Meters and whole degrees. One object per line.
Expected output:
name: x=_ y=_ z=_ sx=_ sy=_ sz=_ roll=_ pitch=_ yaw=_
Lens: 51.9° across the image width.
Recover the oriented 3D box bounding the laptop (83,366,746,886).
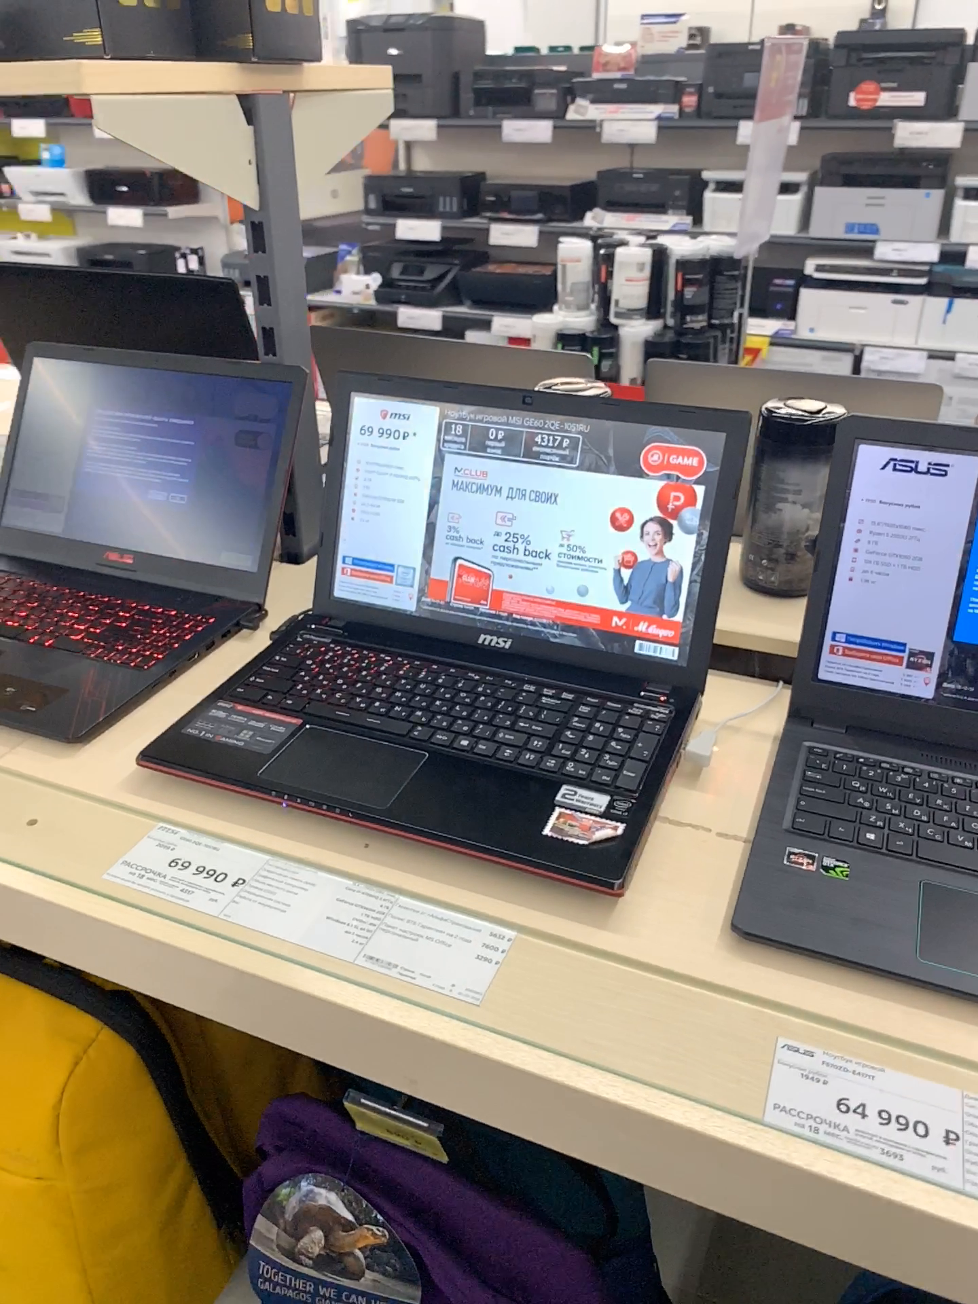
laptop: x=-0.028 y=-0.055 z=0.737 sx=0.355 sy=0.197 sz=0.314 roll=11 pitch=32 yaw=19
